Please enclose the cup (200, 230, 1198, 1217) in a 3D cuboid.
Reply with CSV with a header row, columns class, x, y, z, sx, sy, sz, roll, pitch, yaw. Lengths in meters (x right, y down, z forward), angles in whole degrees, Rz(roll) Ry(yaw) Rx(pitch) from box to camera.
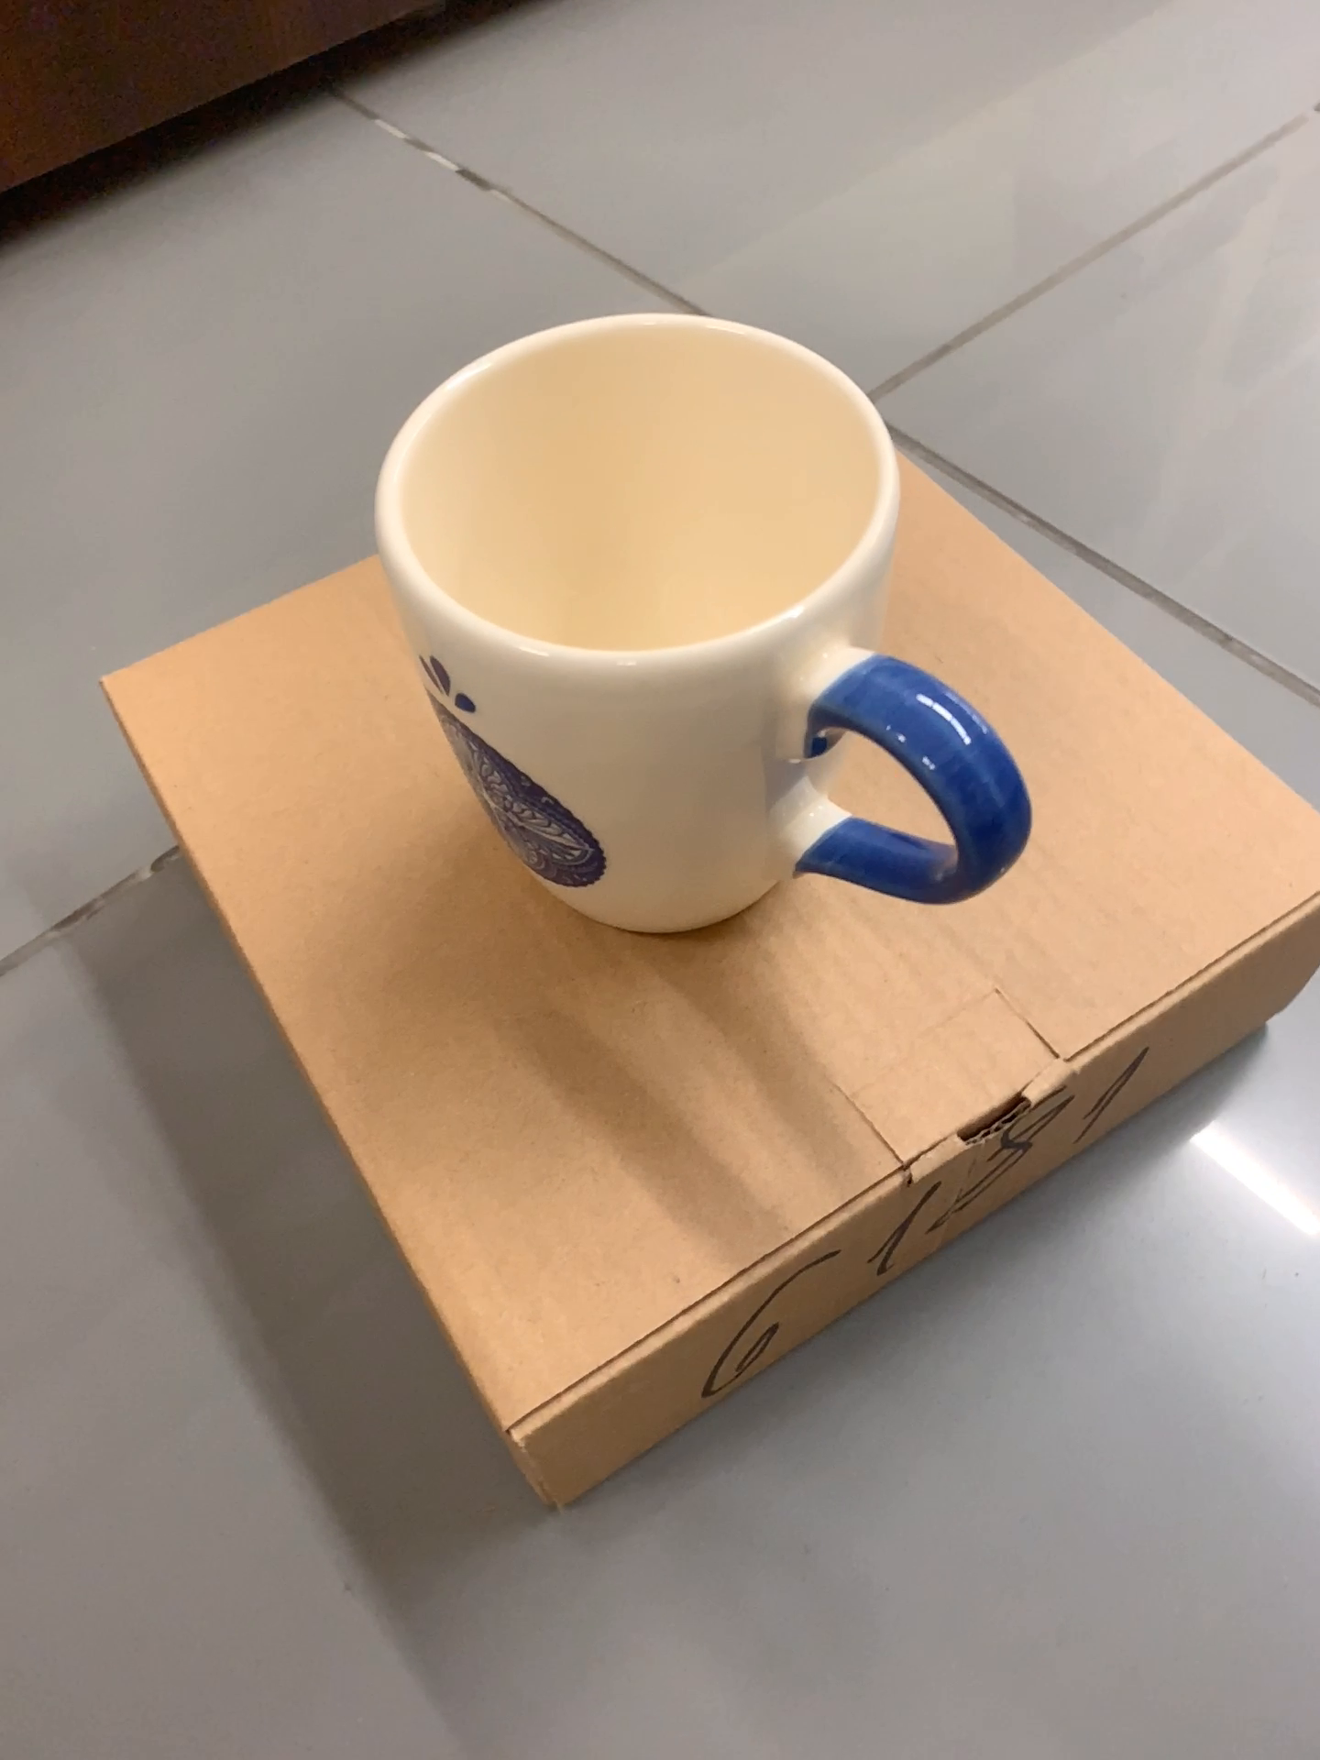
class,x,y,z,sx,sy,sz,roll,pitch,yaw
cup,0.002,-0.033,0.255,0.090,0.090,0.140,-35,61,-19
